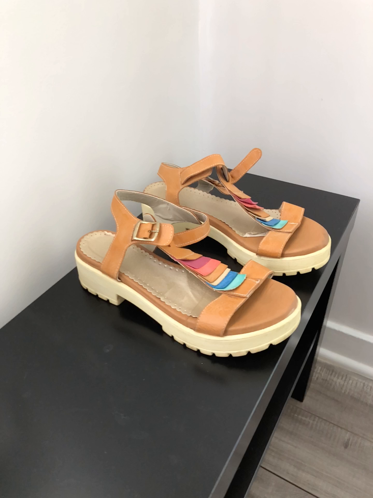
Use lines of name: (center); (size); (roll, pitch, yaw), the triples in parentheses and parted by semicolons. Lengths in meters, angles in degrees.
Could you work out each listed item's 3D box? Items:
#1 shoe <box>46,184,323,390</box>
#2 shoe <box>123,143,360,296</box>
shoe: (-0.008, 0.023, 0.415); (0.248, 0.083, 0.100); (20, 43, 26)
shoe: (0.057, -0.047, 0.489); (0.248, 0.077, 0.100); (20, 43, 26)
